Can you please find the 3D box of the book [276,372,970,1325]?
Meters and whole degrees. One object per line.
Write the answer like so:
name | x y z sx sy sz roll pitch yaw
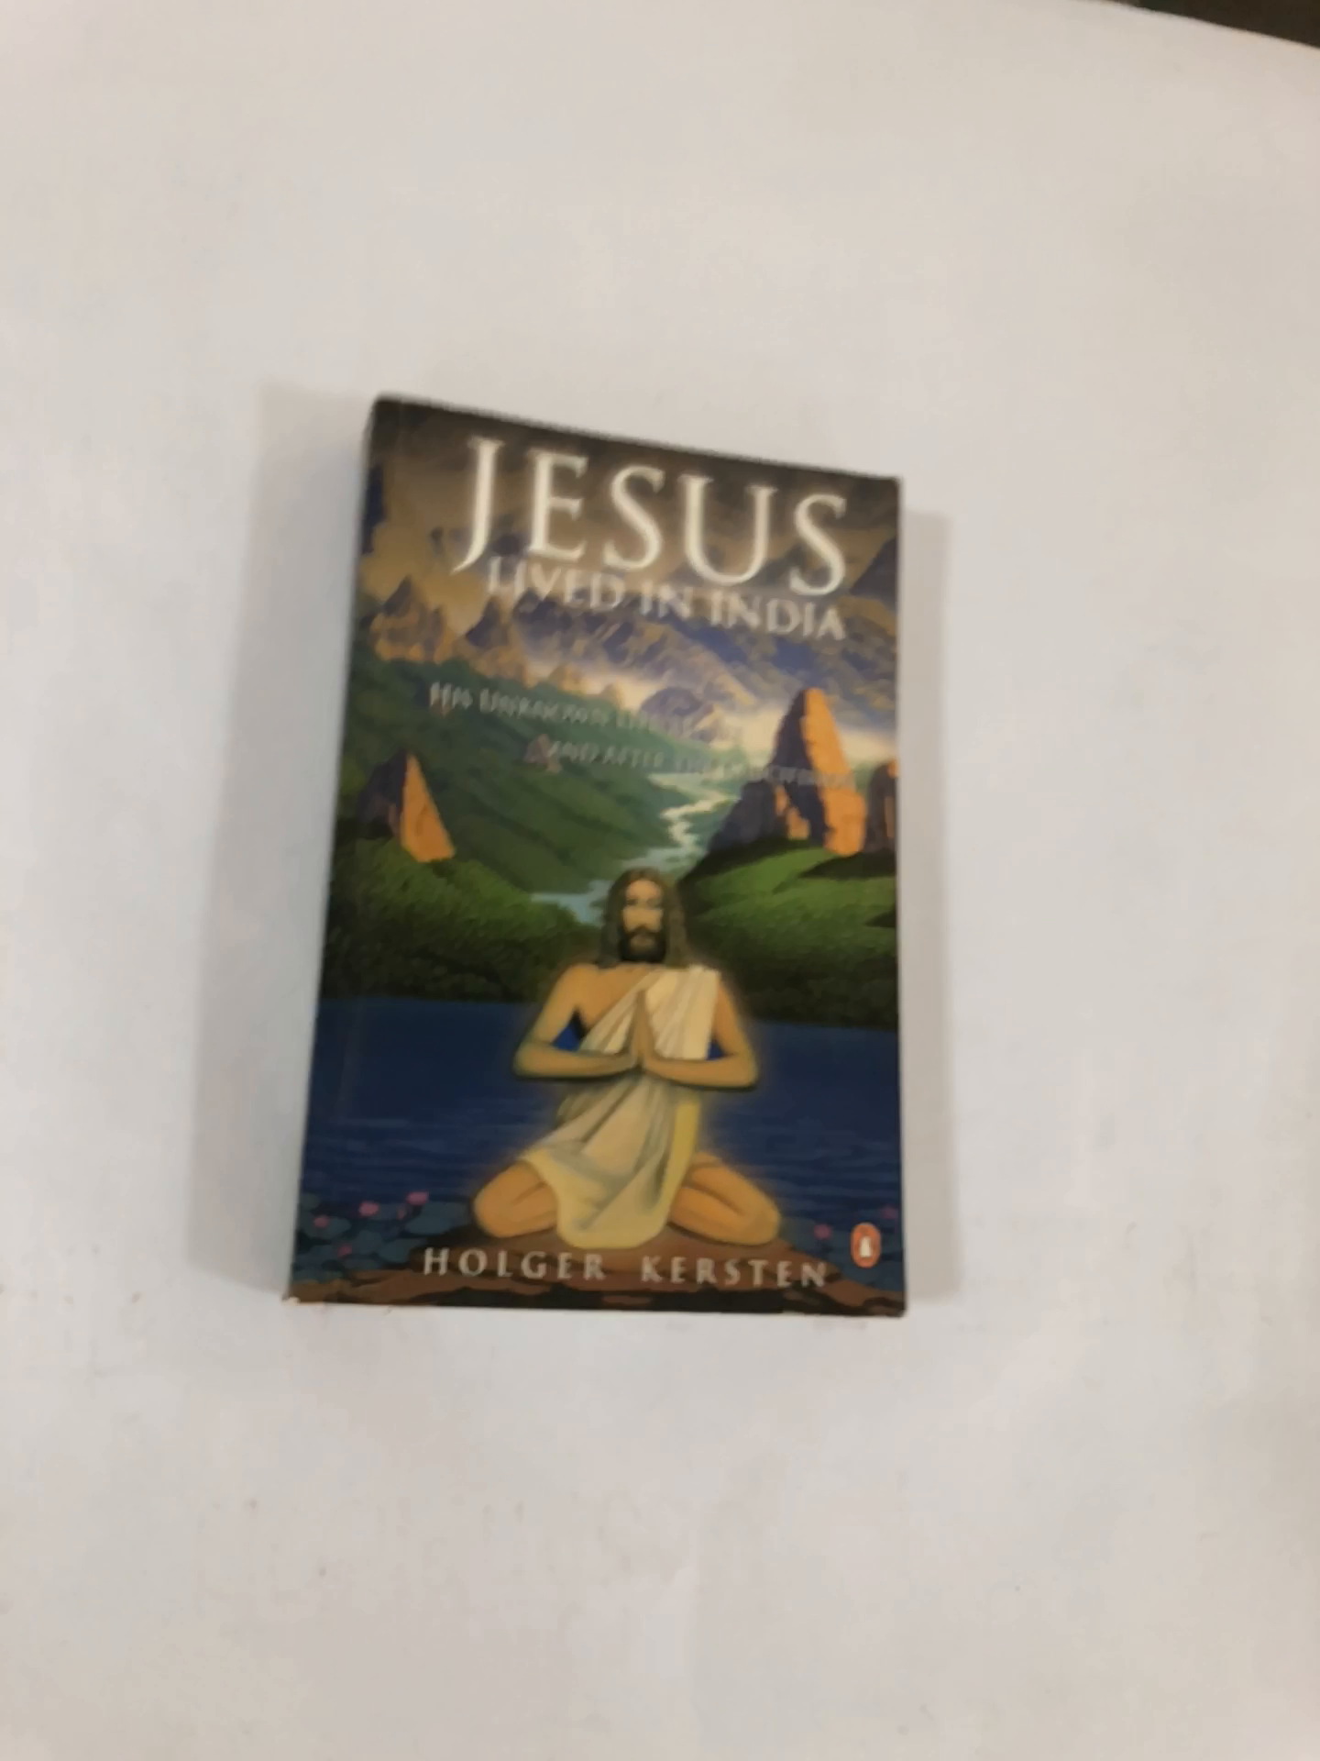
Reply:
book | -0.003 -0.007 0.352 0.150 0.030 0.210 6 75 -14
